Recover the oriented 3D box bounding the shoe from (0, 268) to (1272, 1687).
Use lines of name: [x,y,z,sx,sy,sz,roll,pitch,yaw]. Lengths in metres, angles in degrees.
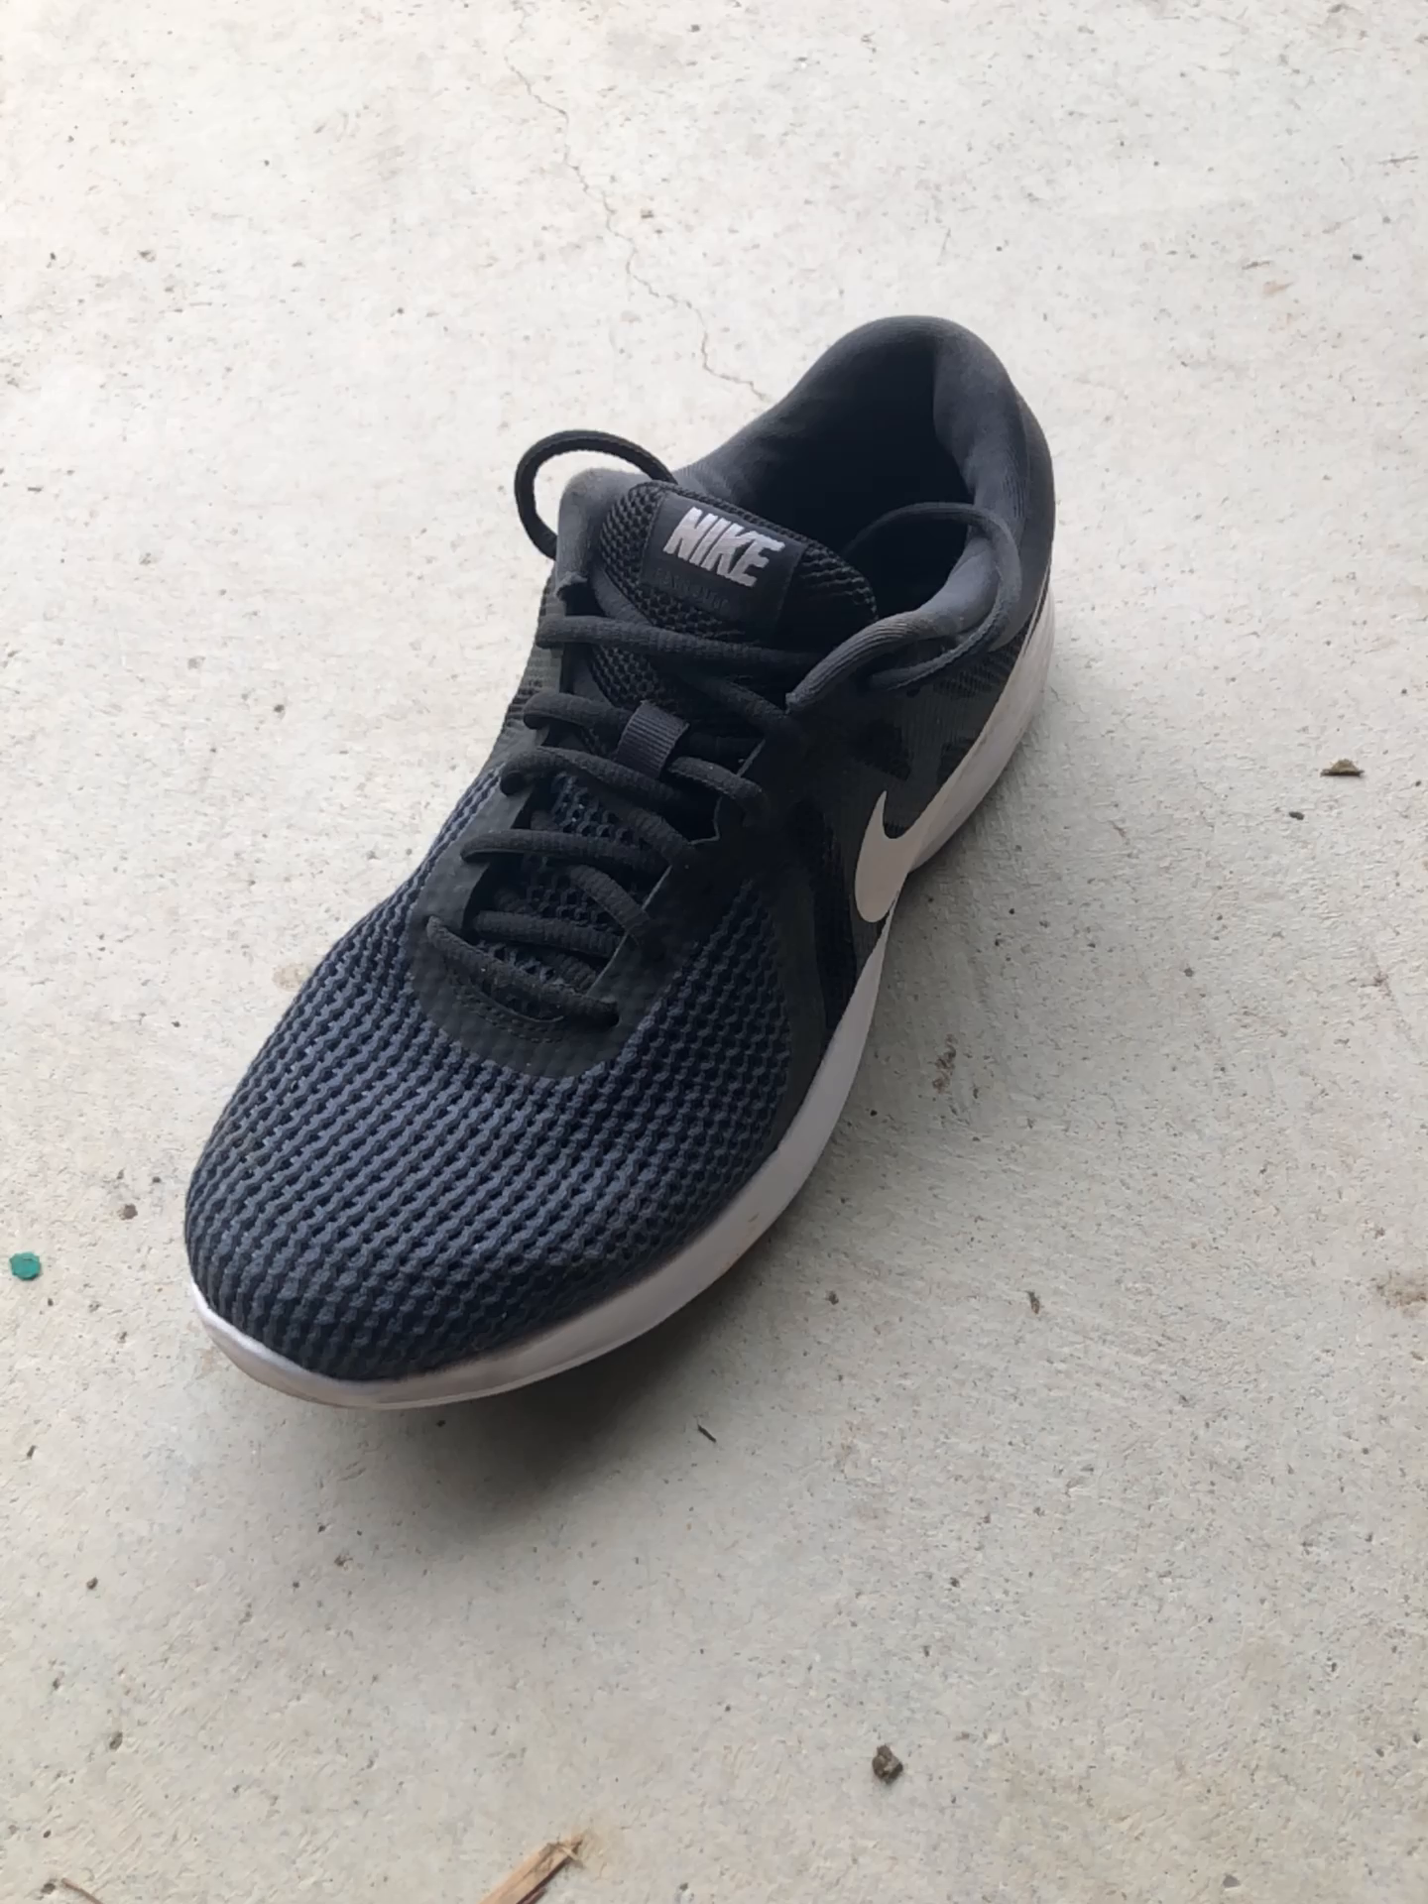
shoe: [-0.003,-0.009,0.361,0.130,0.100,0.291,28,65,16]
